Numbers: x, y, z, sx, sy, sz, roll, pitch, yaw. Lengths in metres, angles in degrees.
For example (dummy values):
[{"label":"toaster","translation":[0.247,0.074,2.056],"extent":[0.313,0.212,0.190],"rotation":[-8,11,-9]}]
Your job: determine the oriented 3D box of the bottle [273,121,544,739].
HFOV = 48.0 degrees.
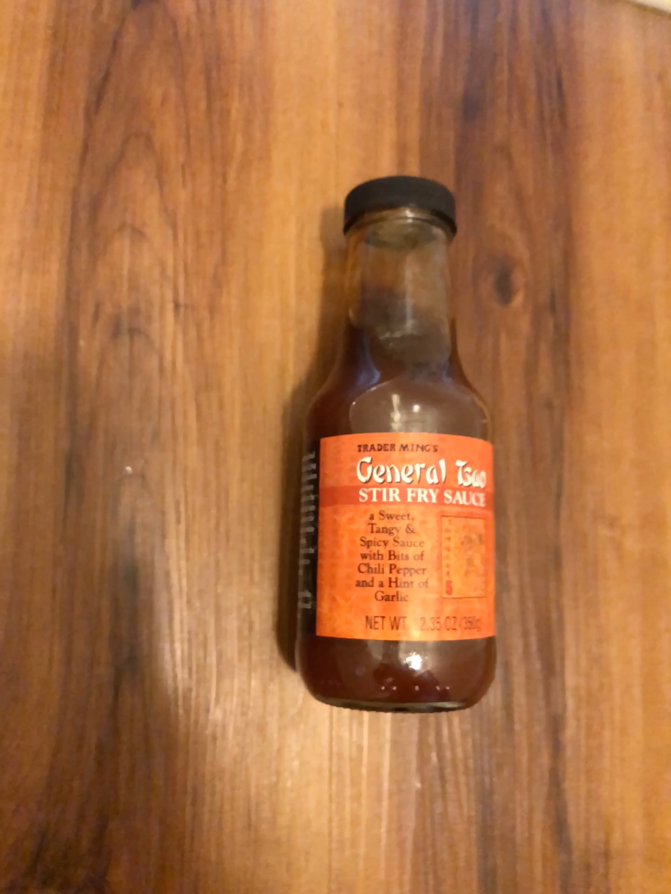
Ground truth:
[{"label":"bottle","translation":[0.020,-0.004,0.252],"extent":[0.069,0.060,0.180],"rotation":[3,79,-14]}]
